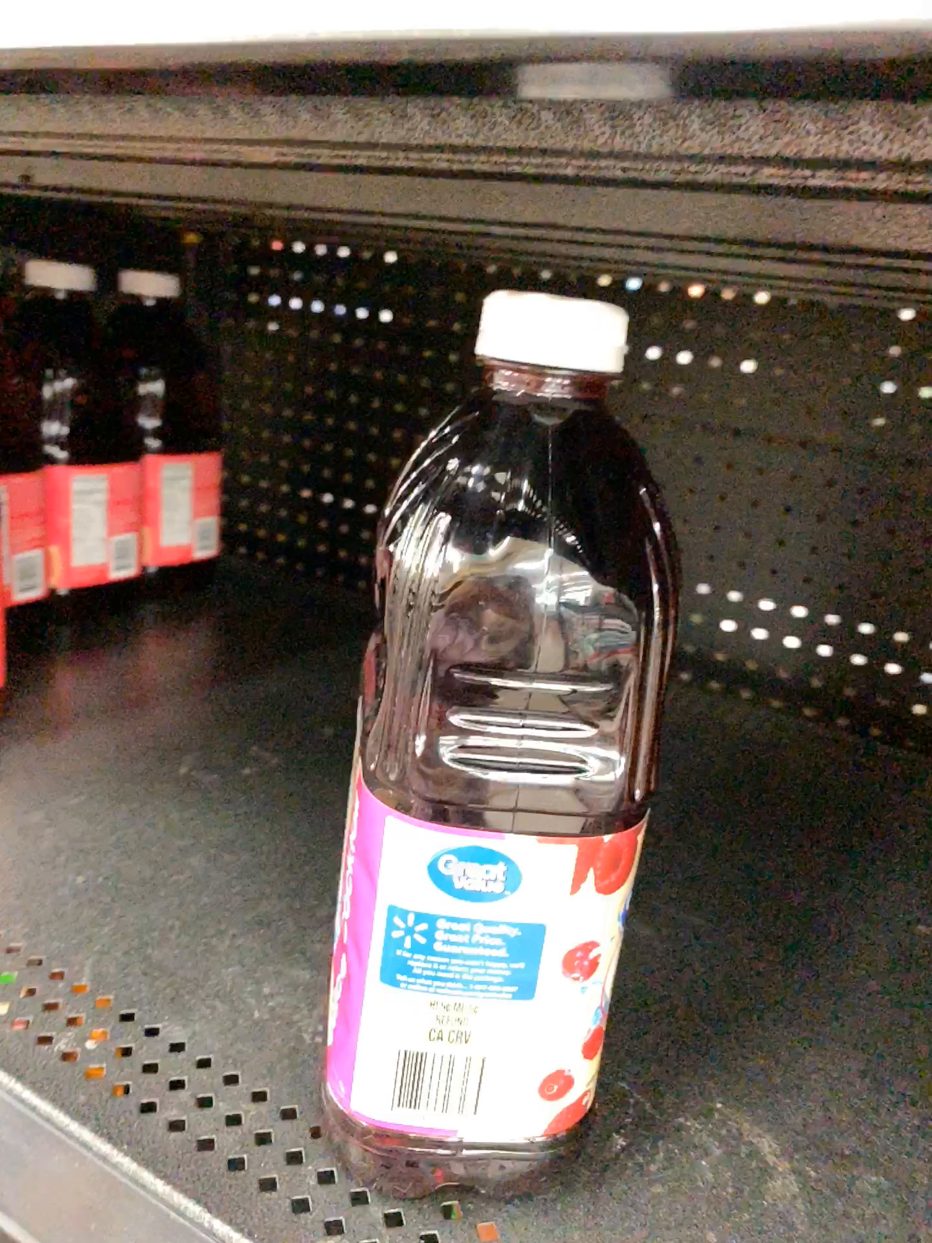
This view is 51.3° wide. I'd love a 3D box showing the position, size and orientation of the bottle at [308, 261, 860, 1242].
[{"bbox_3d":[0.013,0.034,0.296,0.100,0.259,0.126,4,18,-7],"label":"bottle"}]
